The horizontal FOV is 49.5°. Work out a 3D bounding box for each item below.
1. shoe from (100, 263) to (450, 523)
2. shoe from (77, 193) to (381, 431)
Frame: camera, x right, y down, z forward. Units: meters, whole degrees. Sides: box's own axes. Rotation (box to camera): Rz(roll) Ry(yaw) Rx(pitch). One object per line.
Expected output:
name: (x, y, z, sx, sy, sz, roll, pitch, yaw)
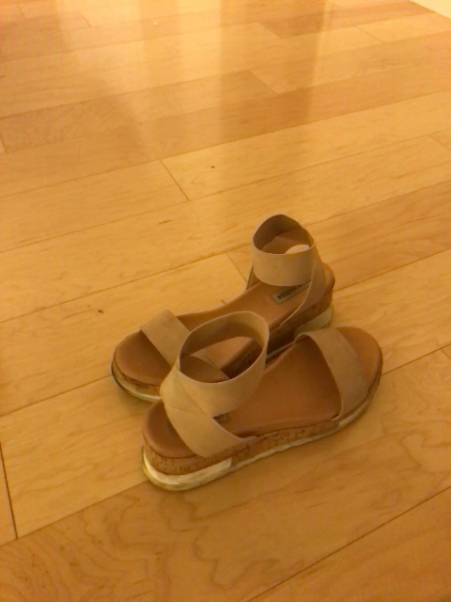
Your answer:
shoe: (0.044, 0.073, 0.427, 0.271, 0.109, 0.090, -18, 50, -18)
shoe: (0.009, 0.001, 0.494, 0.271, 0.109, 0.100, -23, 52, -22)
